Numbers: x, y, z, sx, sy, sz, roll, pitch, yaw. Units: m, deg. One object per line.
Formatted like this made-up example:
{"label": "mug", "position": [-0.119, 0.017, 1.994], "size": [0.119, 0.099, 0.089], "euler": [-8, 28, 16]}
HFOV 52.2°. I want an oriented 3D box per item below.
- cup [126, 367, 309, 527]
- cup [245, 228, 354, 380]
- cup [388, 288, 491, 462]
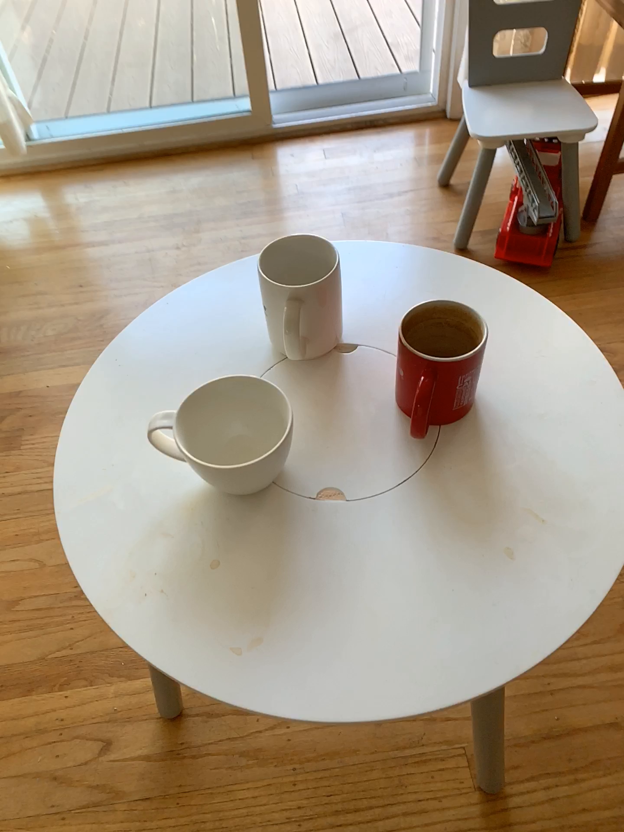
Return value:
{"label": "cup", "position": [-0.083, 0.027, 0.605], "size": [0.130, 0.070, 0.110], "euler": [11, 53, 13]}
{"label": "cup", "position": [-0.008, -0.119, 0.672], "size": [0.090, 0.100, 0.120], "euler": [4, 52, 8]}
{"label": "cup", "position": [0.126, -0.042, 0.630], "size": [0.080, 0.100, 0.130], "euler": [7, 53, 11]}
